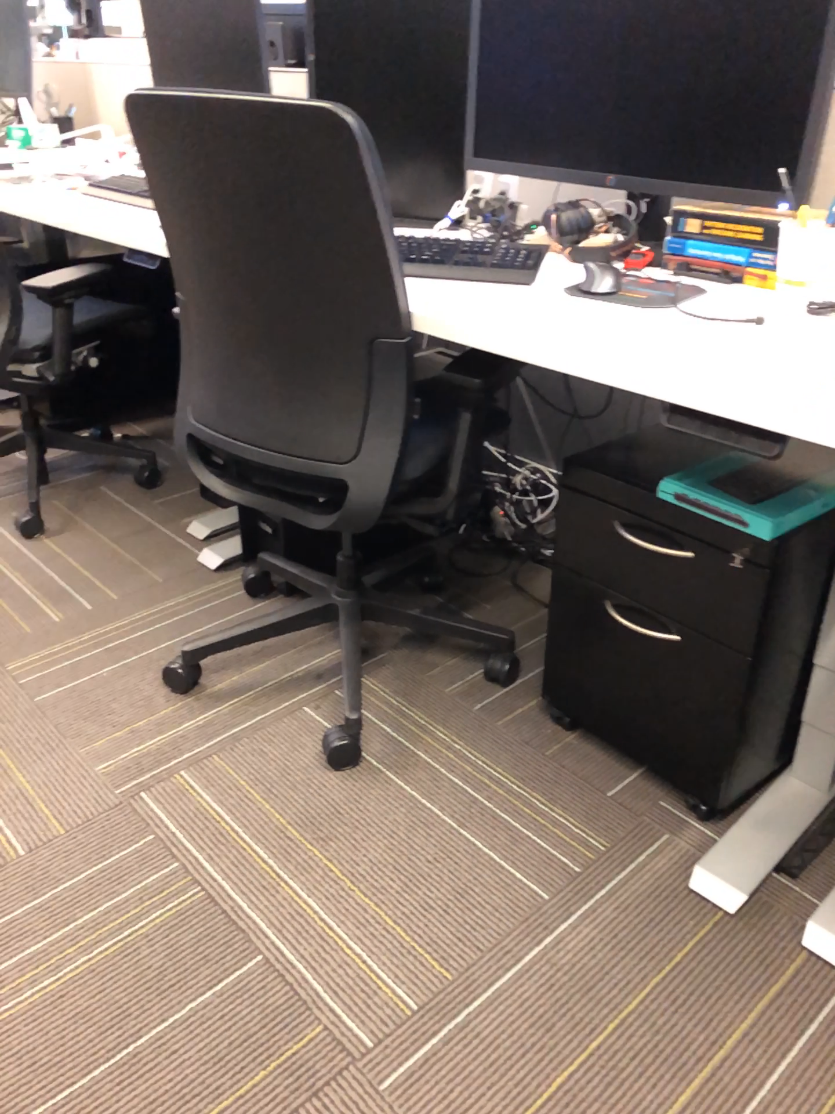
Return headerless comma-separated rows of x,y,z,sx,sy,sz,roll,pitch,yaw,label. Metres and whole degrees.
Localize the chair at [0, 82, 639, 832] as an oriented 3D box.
-0.146,-0.263,1.656,0.712,1.044,0.722,20,34,32,chair
